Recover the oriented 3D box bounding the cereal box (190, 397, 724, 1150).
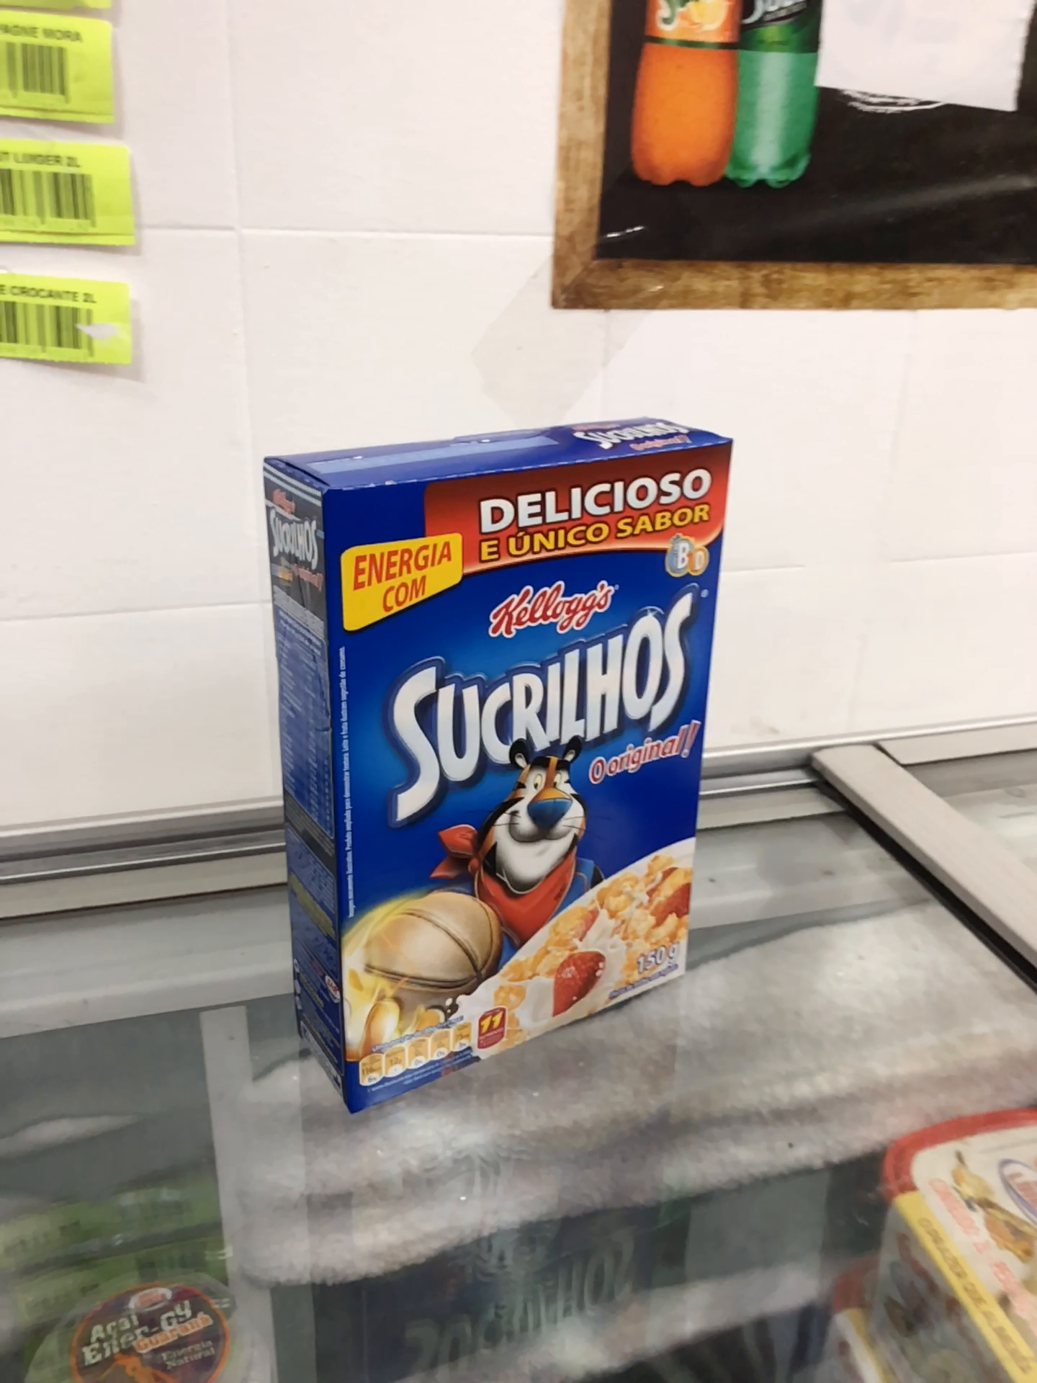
[{"bbox_3d":[-0.016,0.020,0.353,0.140,0.199,0.050,-13,28,-32],"label":"cereal box"}]
